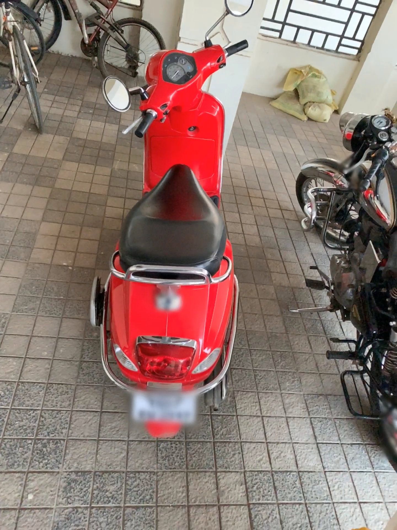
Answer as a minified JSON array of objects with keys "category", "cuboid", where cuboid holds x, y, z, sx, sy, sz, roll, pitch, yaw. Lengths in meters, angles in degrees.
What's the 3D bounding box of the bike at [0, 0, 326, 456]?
[{"category":"bike","cuboid":[-0.313,-0.257,1.749,0.681,1.262,1.554,3,44,-14]}]
